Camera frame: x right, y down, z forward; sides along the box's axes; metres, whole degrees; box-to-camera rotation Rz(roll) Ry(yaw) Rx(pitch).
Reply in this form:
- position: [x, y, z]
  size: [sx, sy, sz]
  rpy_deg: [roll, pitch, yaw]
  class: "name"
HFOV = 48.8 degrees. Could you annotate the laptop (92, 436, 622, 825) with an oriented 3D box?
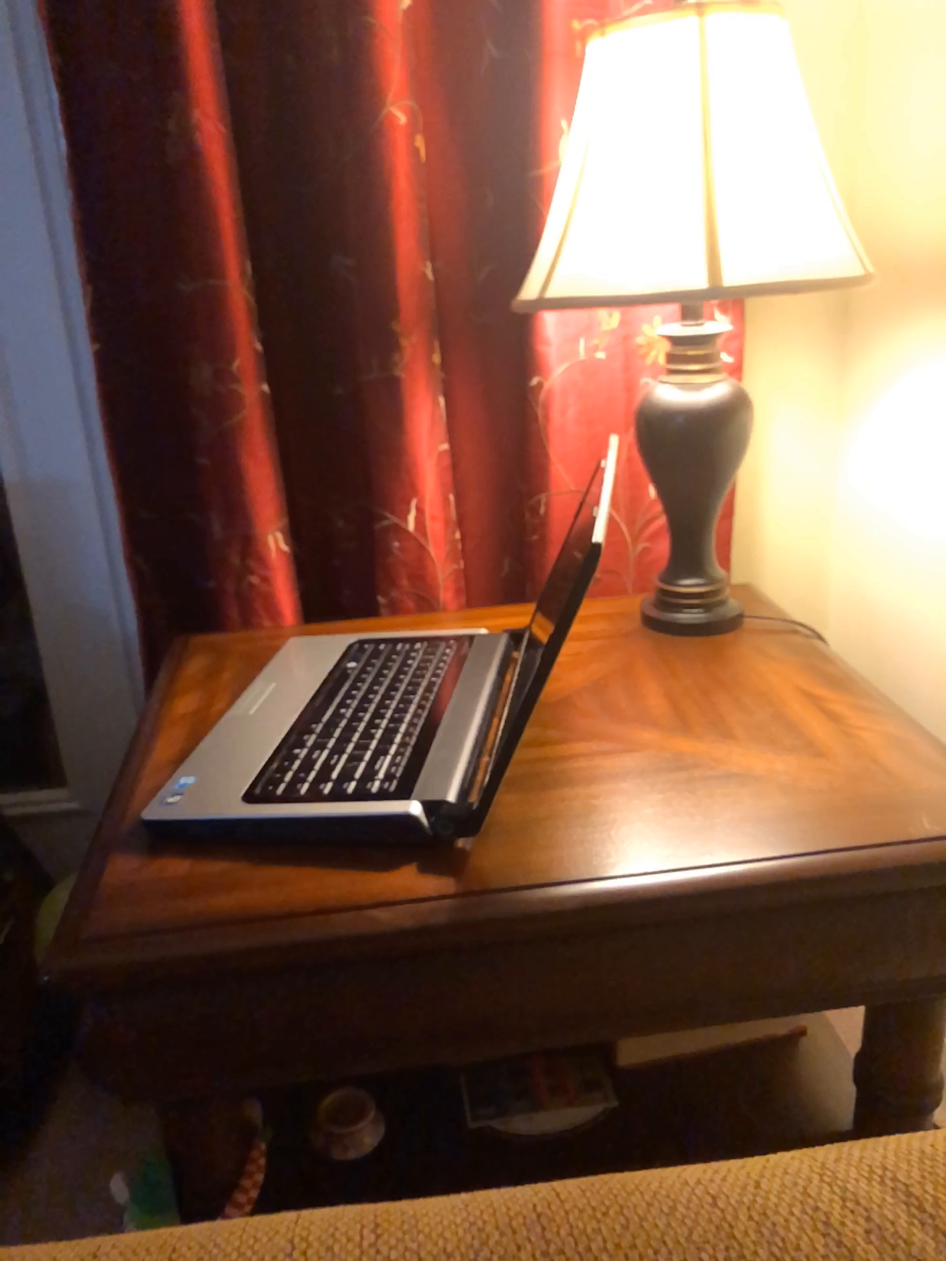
- position: [-0.054, -0.024, 0.890]
  size: [0.350, 0.204, 0.363]
  rpy_deg: [0, 21, 9]
  class: "laptop"
